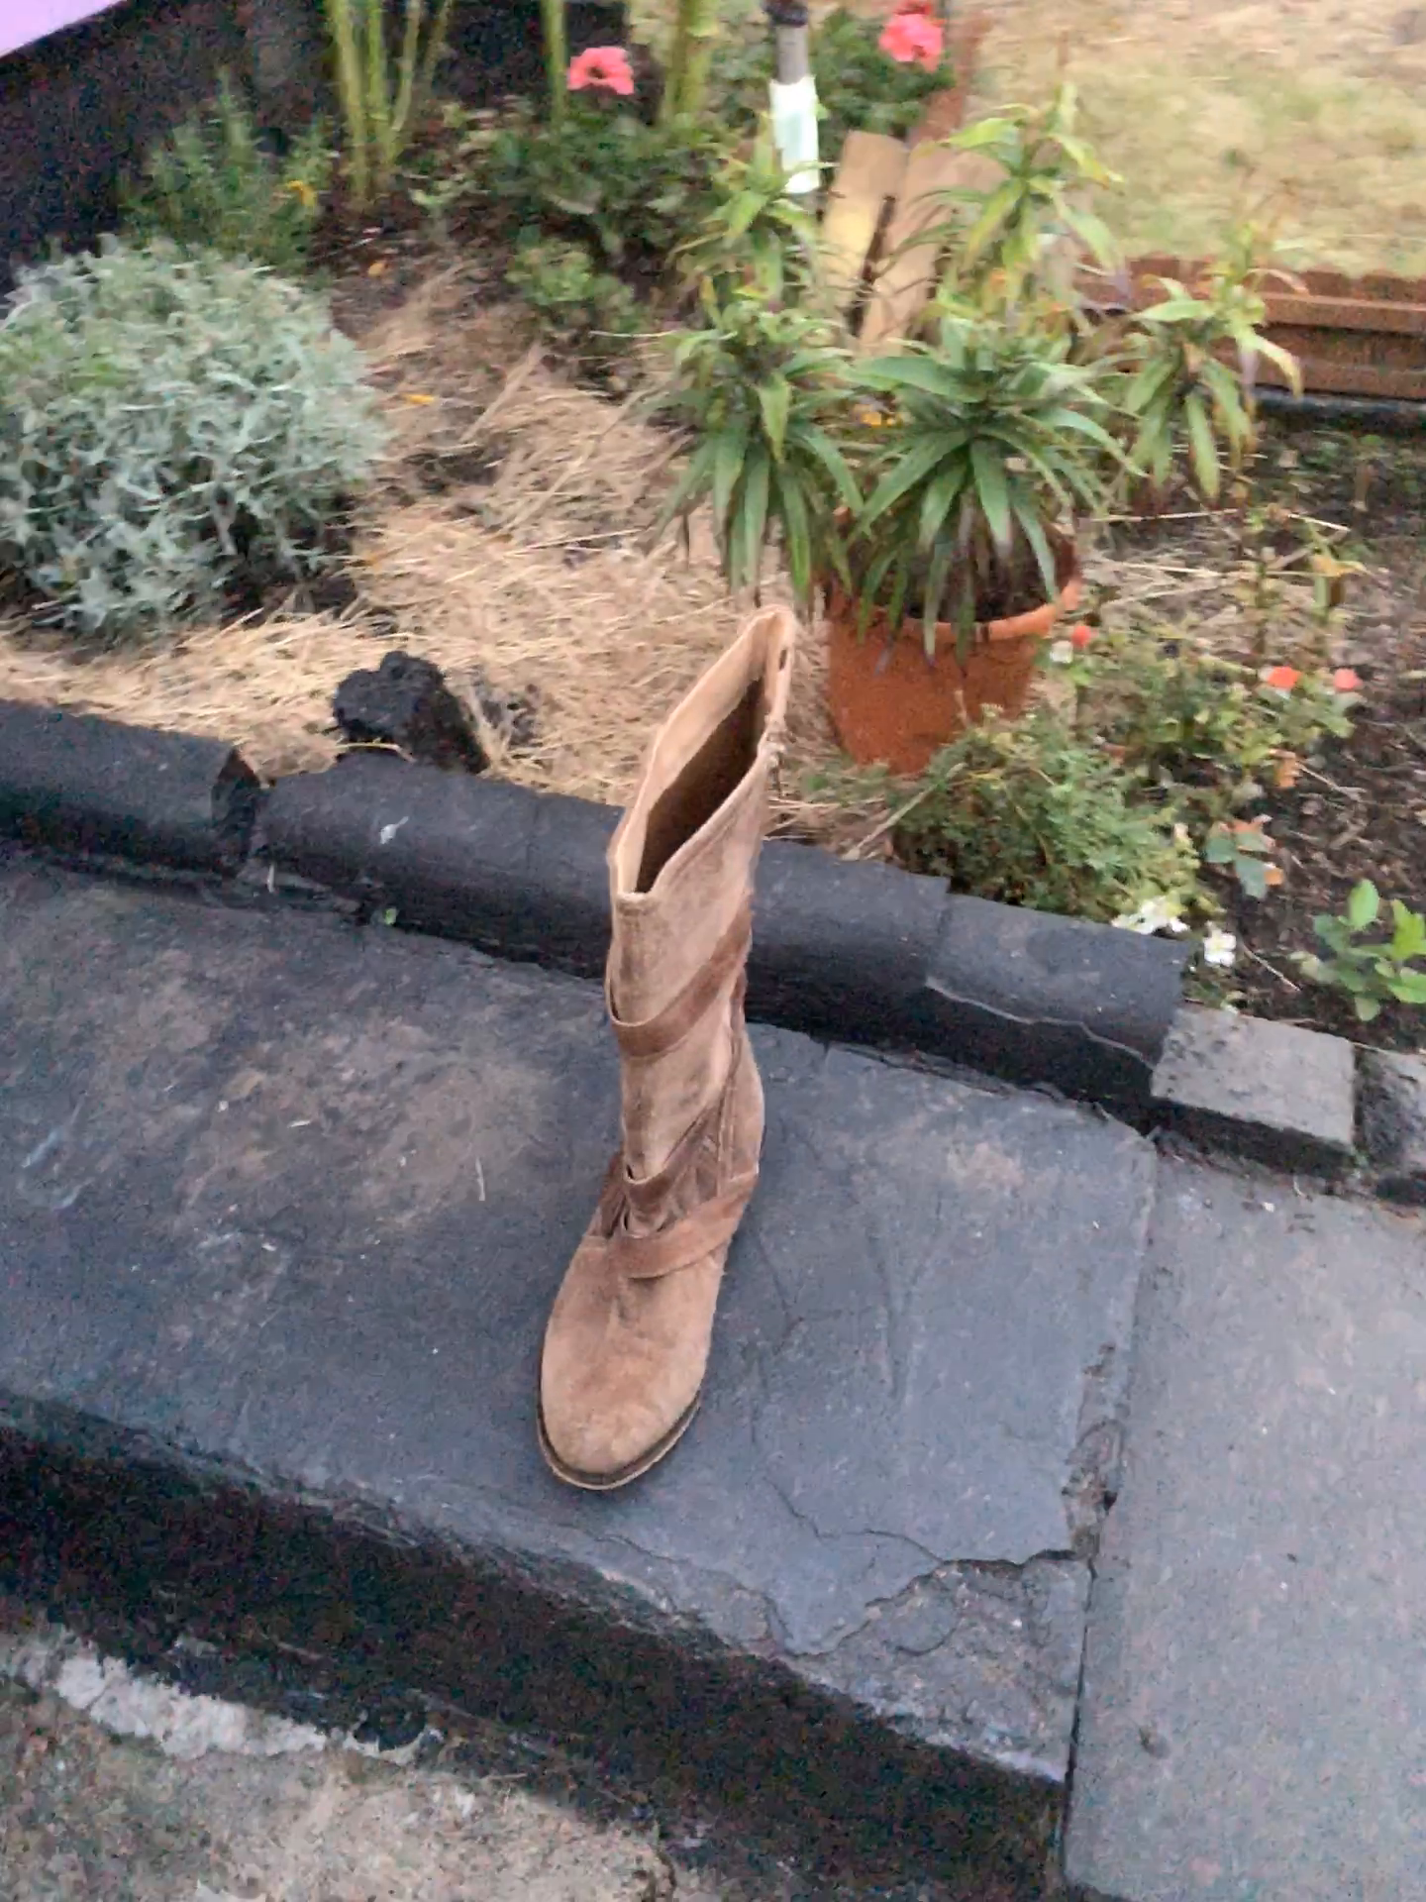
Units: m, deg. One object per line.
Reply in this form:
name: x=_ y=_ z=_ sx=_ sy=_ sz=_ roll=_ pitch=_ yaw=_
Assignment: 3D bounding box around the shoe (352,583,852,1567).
shoe: x=-0.026 y=0.071 z=0.682 sx=0.100 sy=0.376 sz=0.272 roll=12 pitch=48 yaw=12
